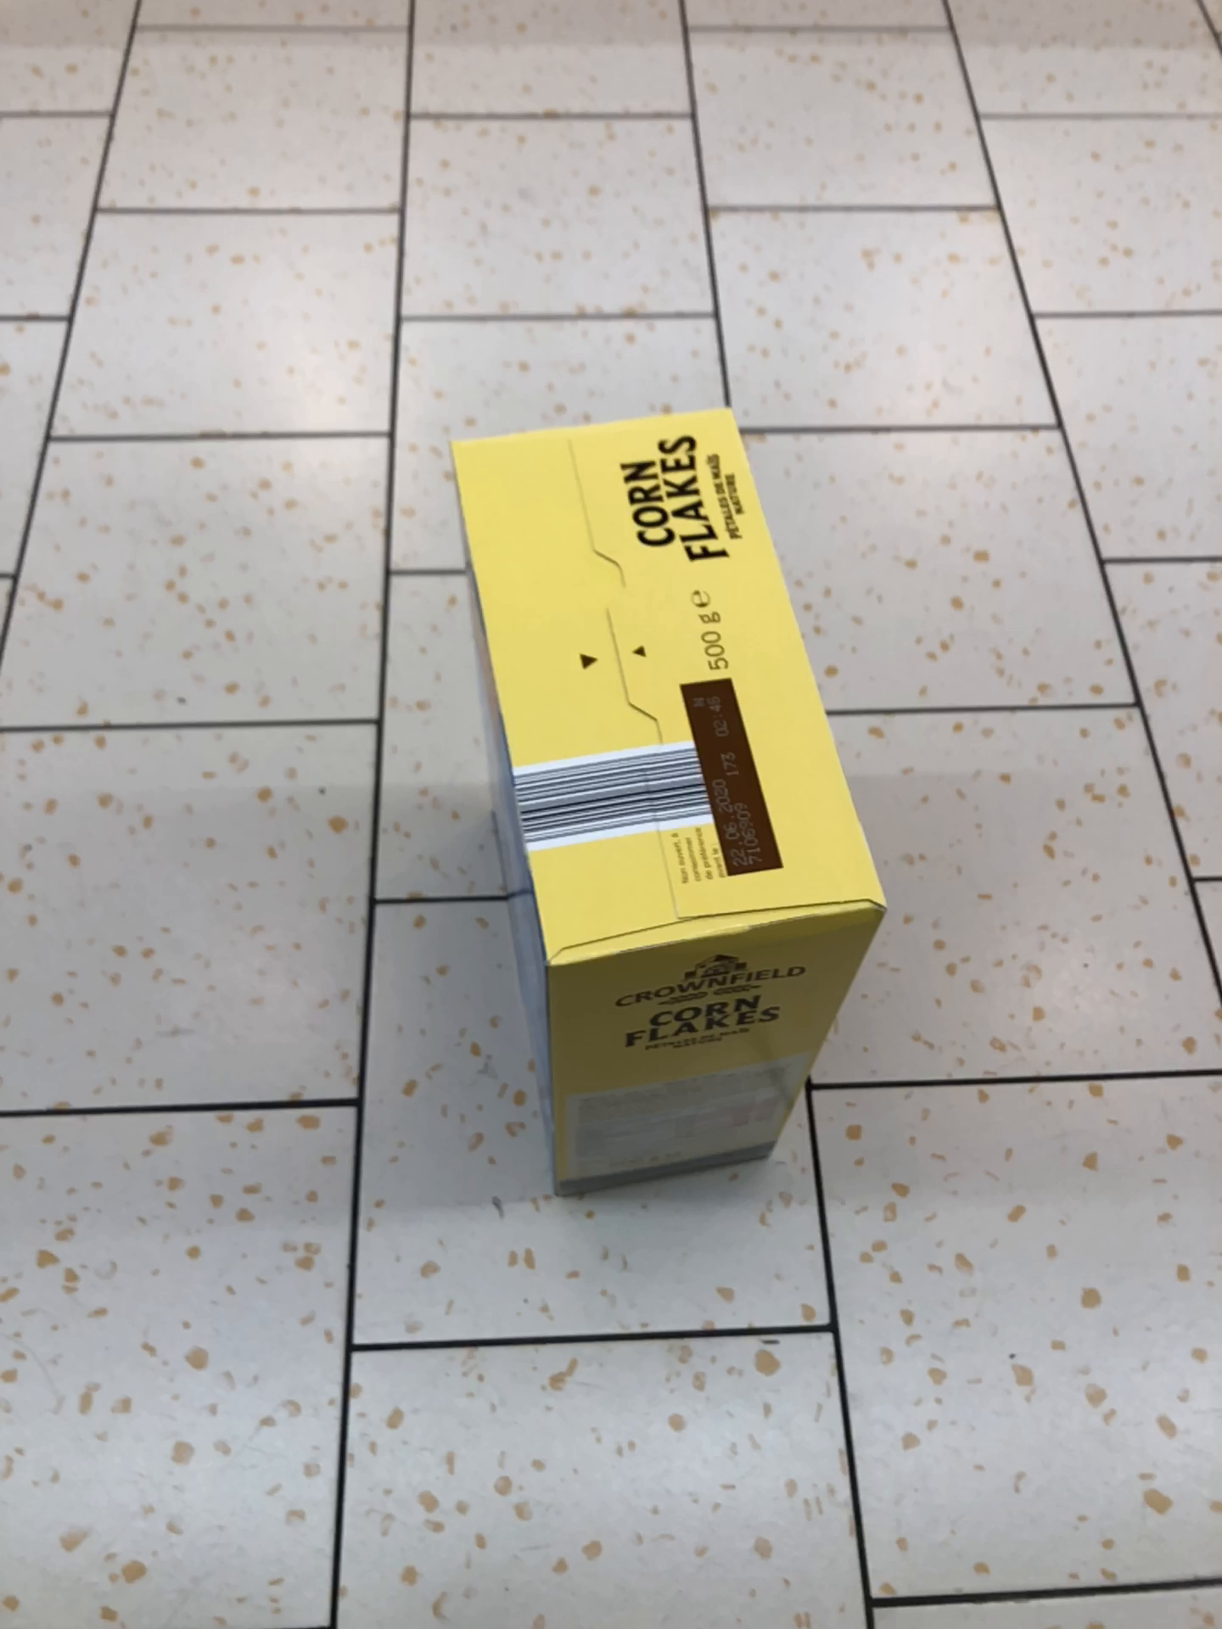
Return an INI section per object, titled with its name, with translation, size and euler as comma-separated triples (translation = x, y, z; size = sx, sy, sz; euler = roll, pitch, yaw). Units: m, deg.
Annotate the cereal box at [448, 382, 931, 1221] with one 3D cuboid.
[cereal box]
translation = 0.013, 0.013, 0.509
size = 0.100, 0.259, 0.201
euler = -9, 61, -7
